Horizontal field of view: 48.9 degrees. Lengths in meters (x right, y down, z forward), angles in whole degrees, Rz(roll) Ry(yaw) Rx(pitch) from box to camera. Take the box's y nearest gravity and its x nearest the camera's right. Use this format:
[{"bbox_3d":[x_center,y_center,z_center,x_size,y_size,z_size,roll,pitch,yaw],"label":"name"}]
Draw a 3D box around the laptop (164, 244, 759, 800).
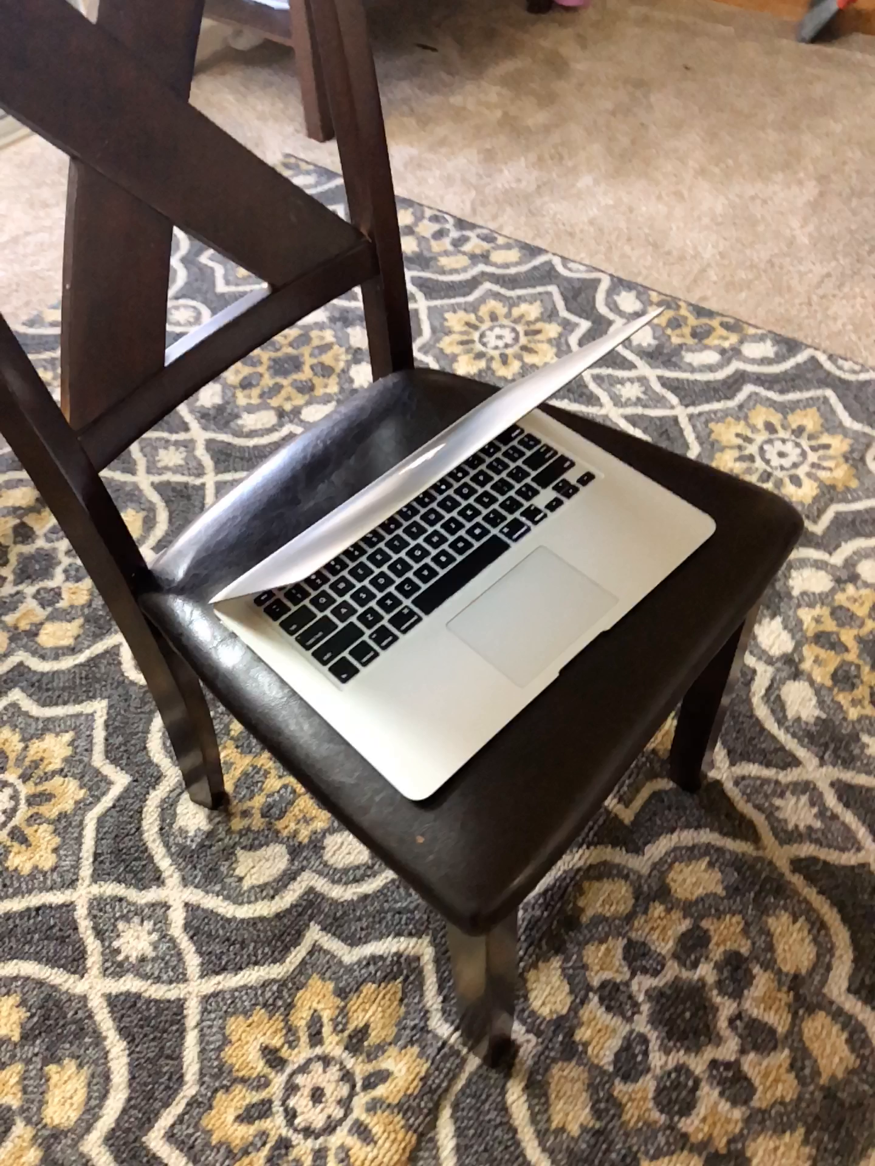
[{"bbox_3d":[0.022,-0.058,0.651,0.304,0.154,0.216,-38,58,-25],"label":"laptop"}]
